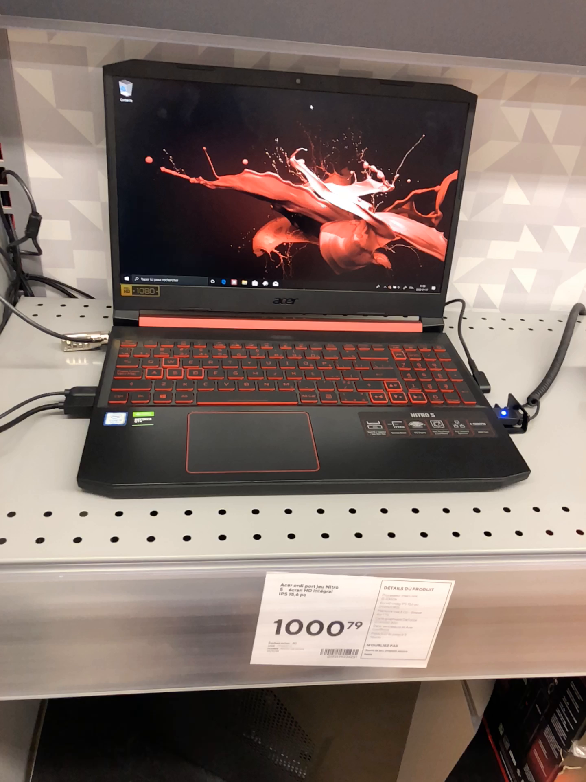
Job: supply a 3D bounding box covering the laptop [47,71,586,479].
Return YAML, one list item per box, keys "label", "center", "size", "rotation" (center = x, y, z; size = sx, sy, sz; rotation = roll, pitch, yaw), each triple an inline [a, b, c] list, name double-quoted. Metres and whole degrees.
- label: "laptop"
  center: [0.014, -0.112, 0.573]
  size: [0.361, 0.241, 0.282]
  rotation: [0, 35, -9]
